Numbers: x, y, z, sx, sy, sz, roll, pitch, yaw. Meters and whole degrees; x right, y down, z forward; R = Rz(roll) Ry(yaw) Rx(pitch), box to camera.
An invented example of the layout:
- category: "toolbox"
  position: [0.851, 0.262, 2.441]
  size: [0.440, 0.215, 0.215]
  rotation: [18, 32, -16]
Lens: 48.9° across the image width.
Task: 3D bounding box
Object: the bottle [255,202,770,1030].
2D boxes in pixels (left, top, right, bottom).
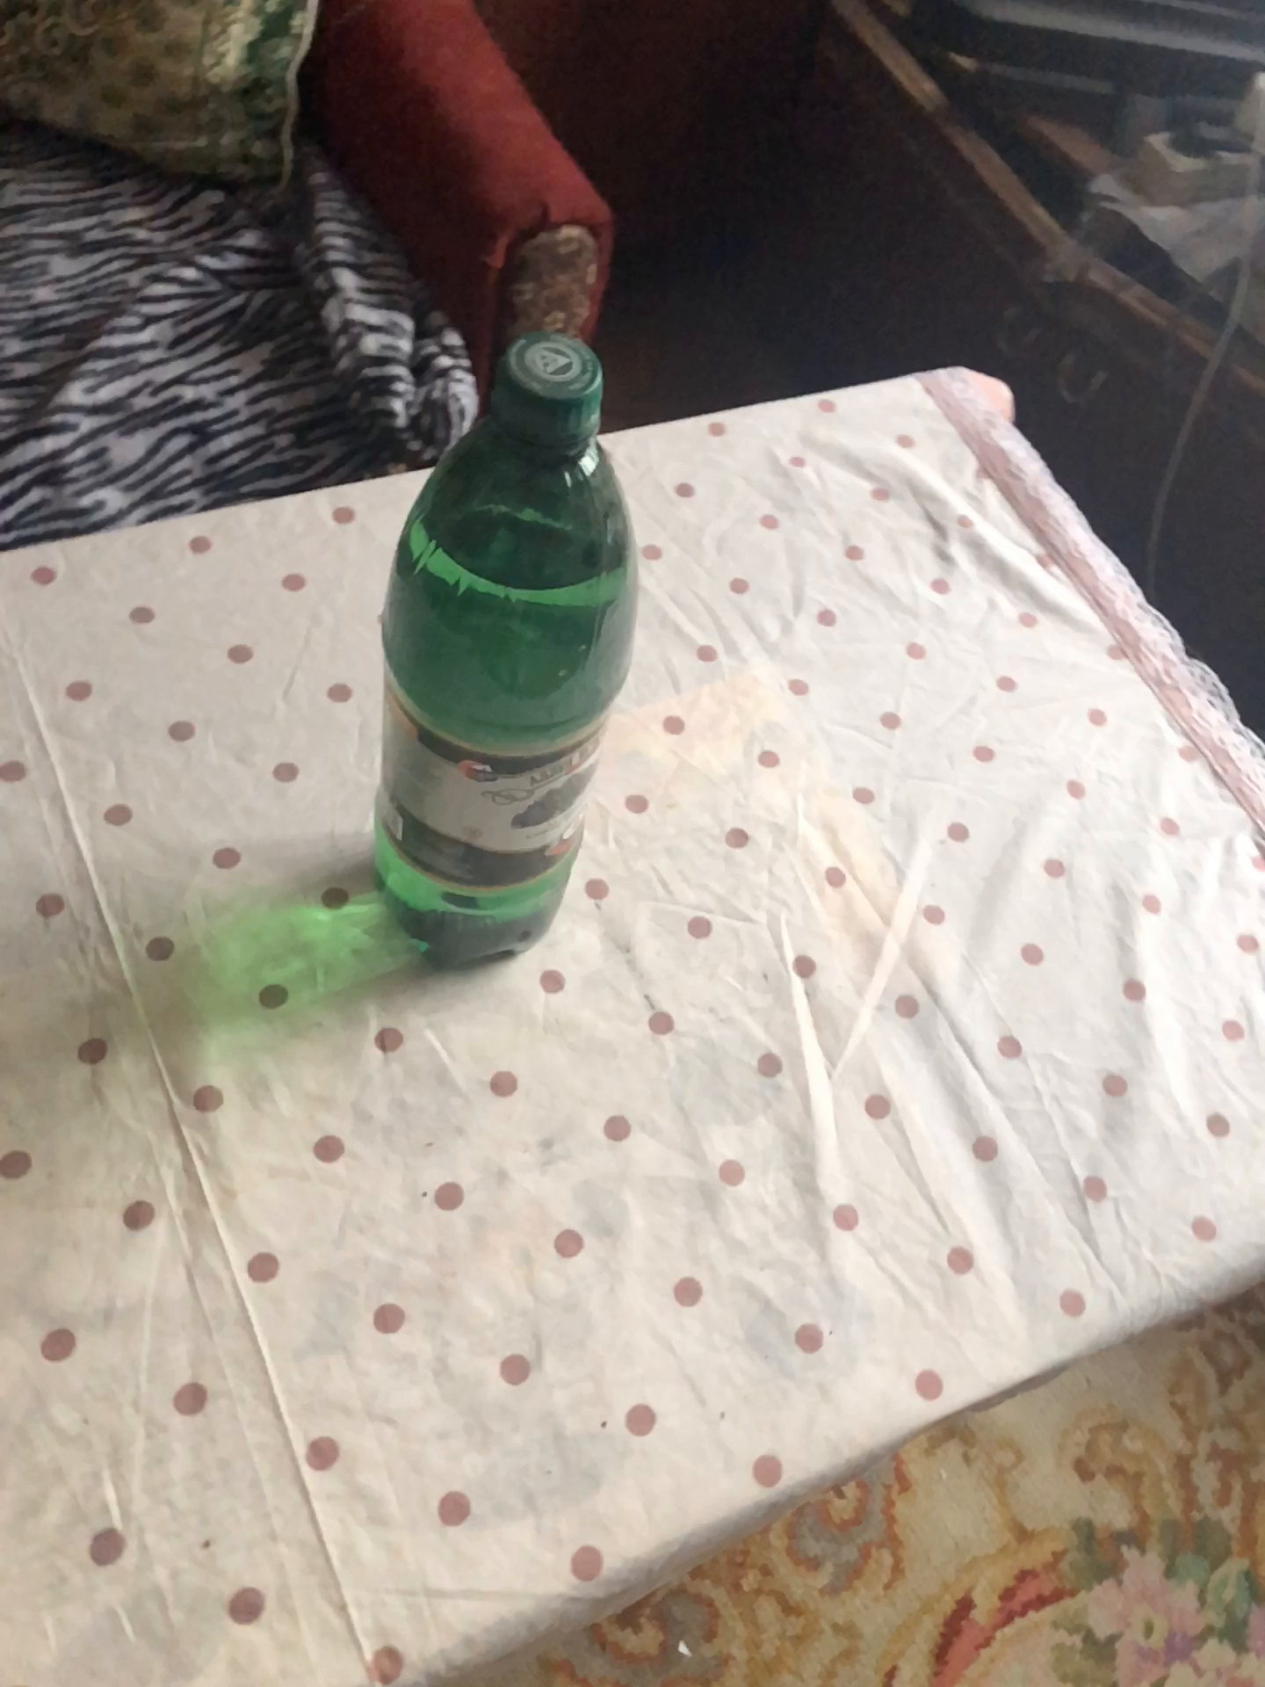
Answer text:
- category: "bottle"
  position: [-0.052, -0.056, 0.491]
  size: [0.100, 0.279, 0.100]
  rotation: [5, 58, -8]
